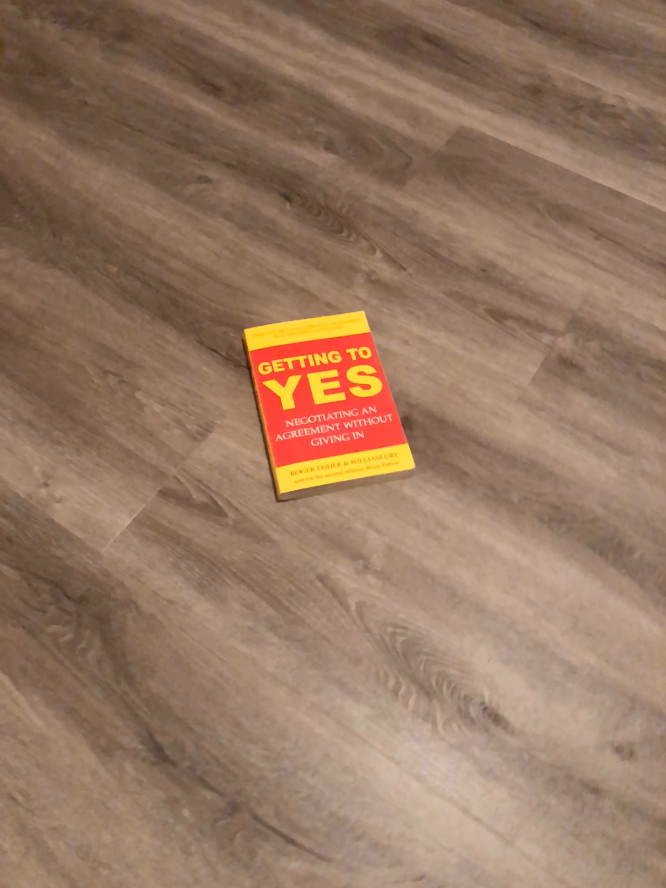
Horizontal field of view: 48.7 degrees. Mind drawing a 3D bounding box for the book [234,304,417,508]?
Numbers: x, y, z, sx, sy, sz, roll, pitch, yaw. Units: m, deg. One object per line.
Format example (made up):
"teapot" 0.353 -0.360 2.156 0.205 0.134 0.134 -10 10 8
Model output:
"book" -0.012 -0.042 0.697 0.130 0.026 0.191 -11 60 -8
